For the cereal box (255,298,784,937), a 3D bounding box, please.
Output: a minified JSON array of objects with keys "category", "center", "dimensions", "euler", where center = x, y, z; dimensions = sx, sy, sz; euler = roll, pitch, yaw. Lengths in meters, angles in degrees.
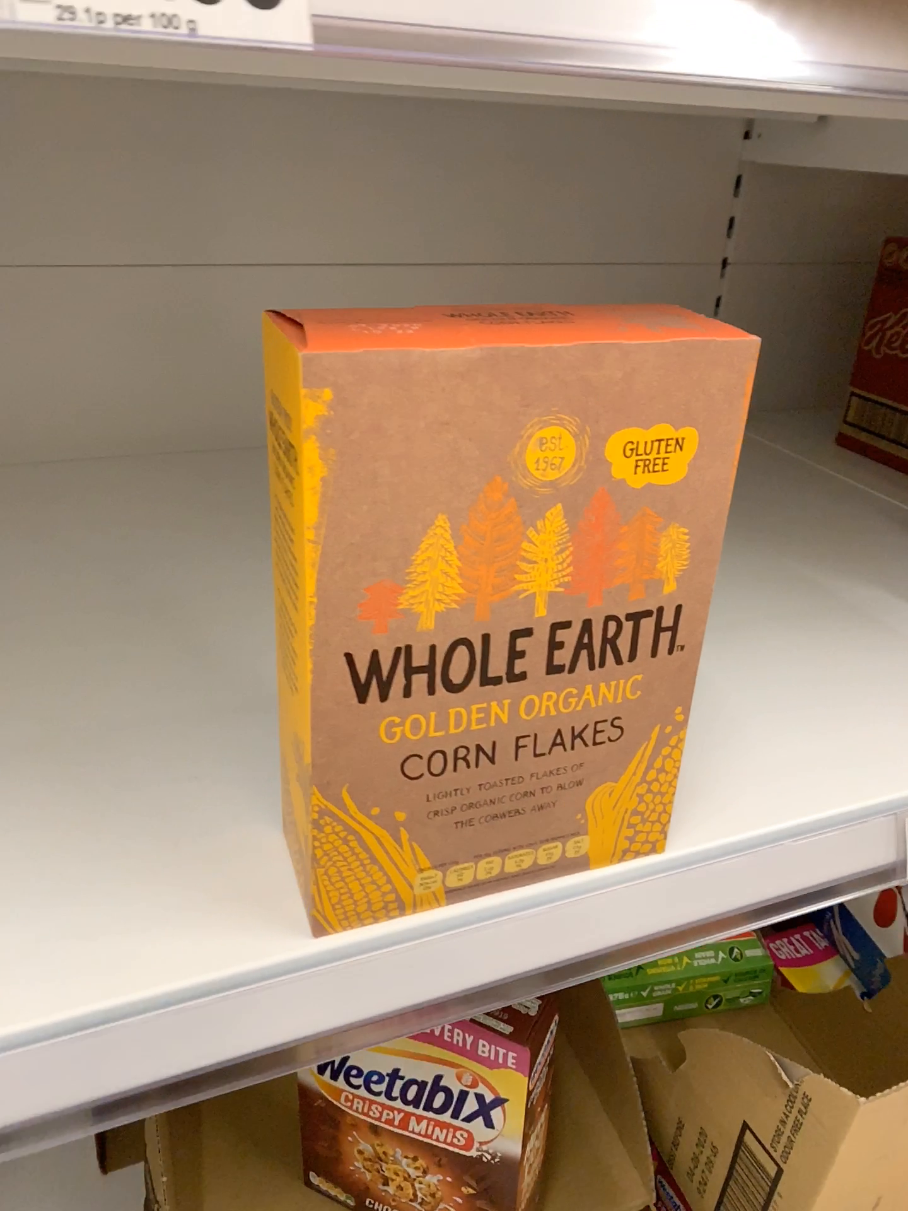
[{"category":"cereal box","center":[0.020,0.001,0.444],"dimensions":[0.200,0.268,0.091],"euler":[-7,28,-20]}]
